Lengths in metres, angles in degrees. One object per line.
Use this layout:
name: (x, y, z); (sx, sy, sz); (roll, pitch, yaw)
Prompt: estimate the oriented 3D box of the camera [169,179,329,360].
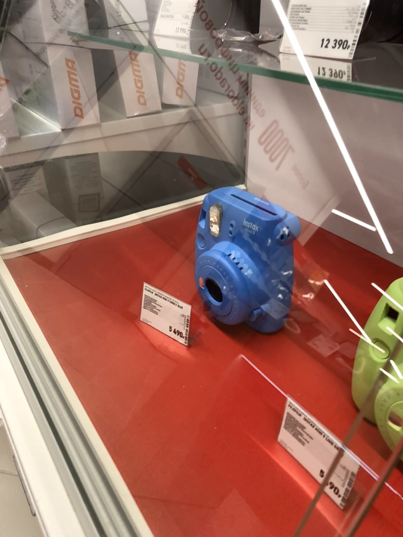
camera: (0.037, -0.006, 0.409); (0.070, 0.109, 0.123); (-24, 38, -33)
